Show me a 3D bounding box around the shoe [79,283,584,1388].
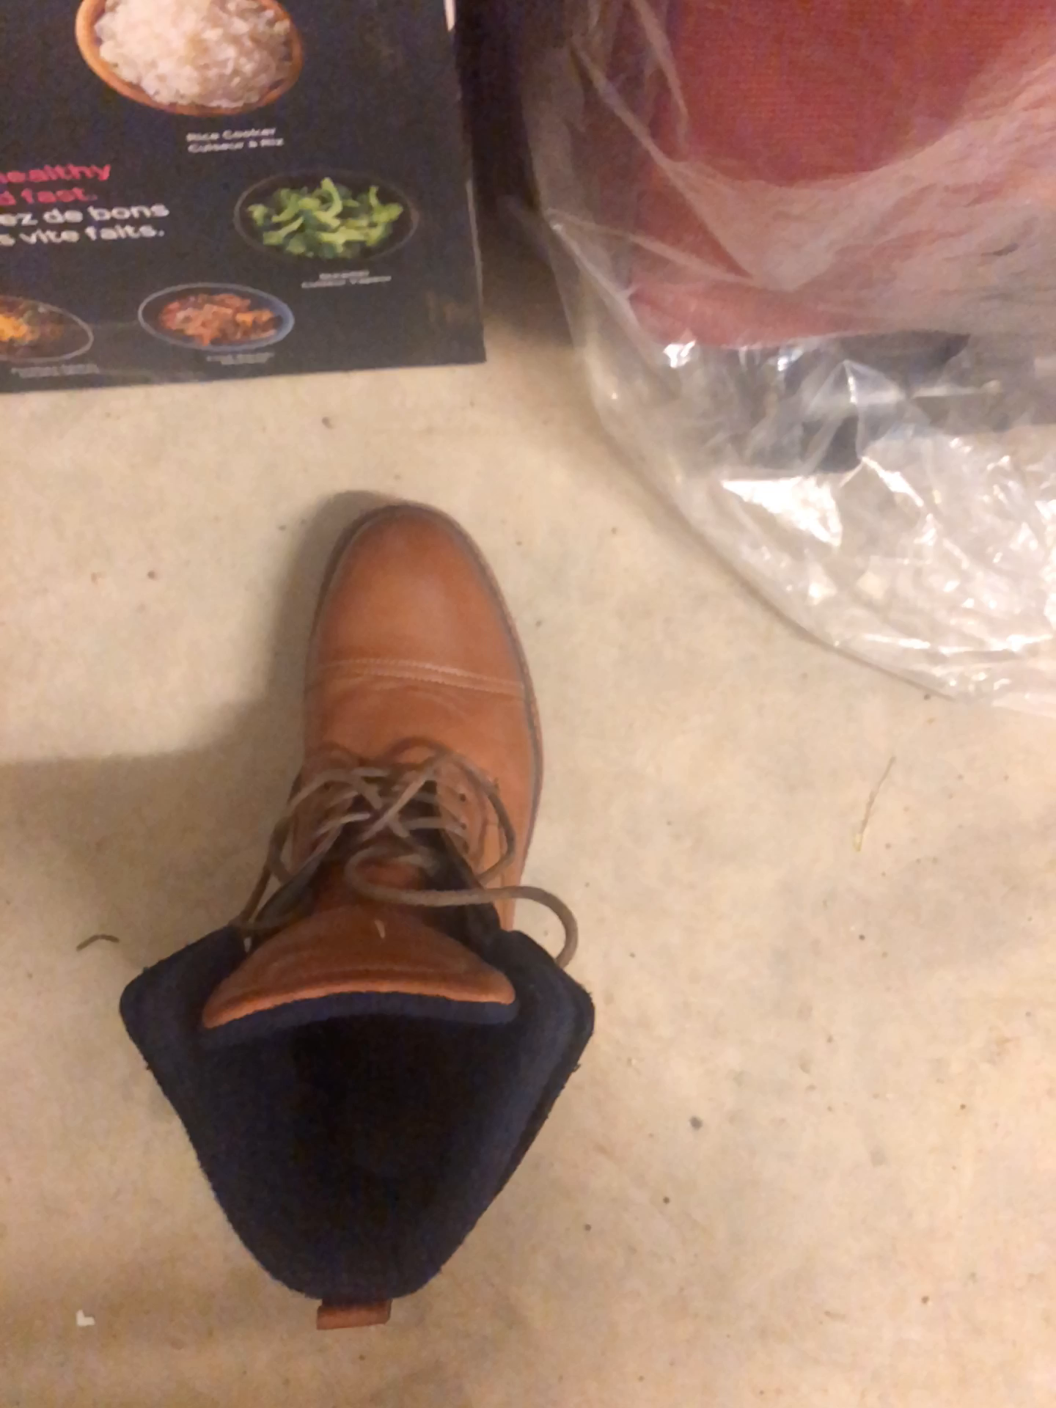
[{"bbox_3d":[-0.055,0.040,0.426,0.132,0.202,0.303,-1,83,-1],"label":"shoe"}]
